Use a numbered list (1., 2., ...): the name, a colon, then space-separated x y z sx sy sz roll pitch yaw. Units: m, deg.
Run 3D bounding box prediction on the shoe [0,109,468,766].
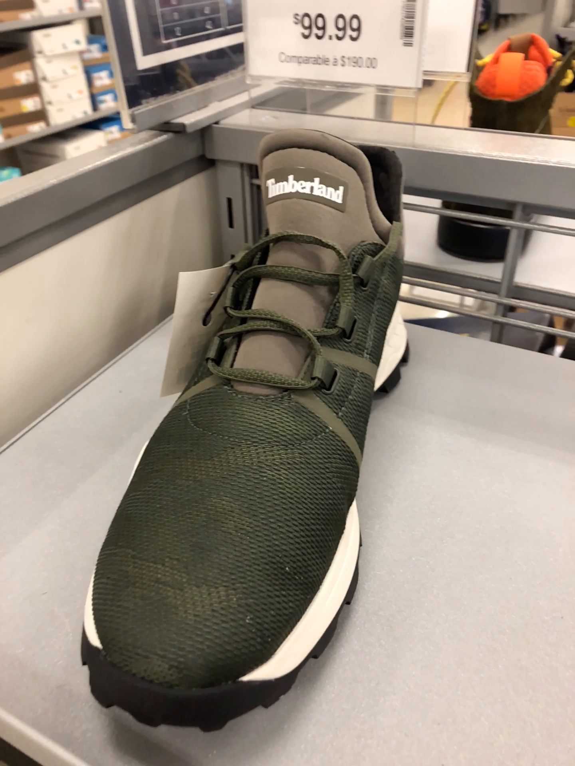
1. shoe: -0.008 -0.015 0.305 0.130 0.149 0.312 11 37 16
